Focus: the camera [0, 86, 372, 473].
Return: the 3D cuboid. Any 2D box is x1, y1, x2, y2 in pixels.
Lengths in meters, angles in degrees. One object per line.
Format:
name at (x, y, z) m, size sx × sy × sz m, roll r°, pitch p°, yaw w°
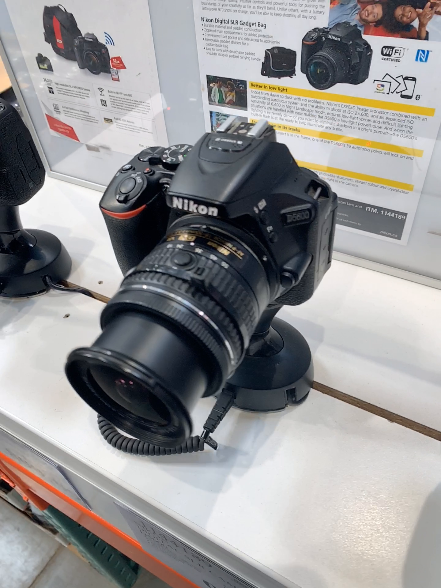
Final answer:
camera at (-0.008, -0.020, 0.215) m, size 0.111 × 0.090 × 0.141 m, roll 16°, pitch 49°, yaw 21°
